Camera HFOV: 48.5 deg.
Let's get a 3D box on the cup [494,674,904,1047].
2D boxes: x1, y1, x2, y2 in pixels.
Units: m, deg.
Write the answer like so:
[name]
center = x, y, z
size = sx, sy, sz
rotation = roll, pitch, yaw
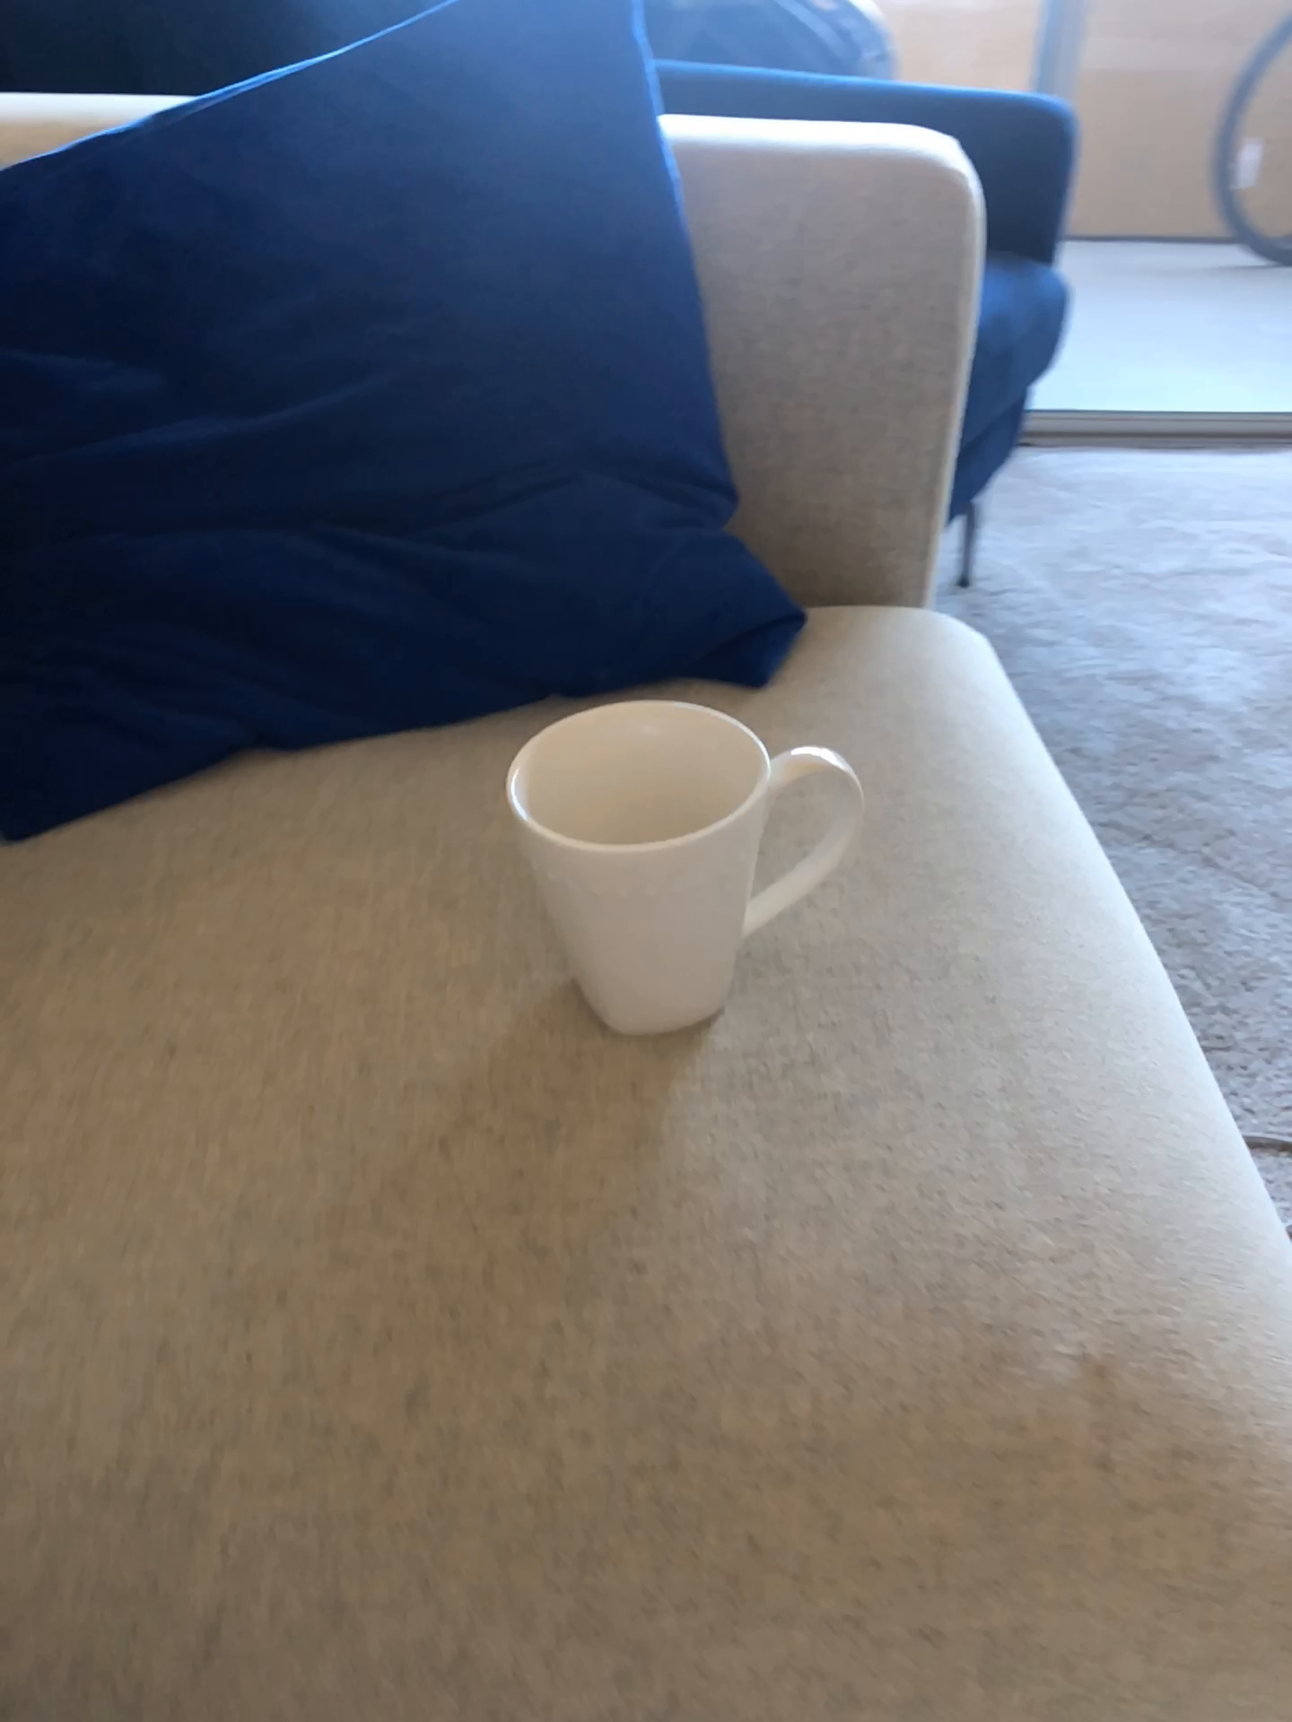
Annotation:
[cup]
center = 0.013, -0.003, 0.535
size = 0.130, 0.090, 0.100
rotation = -4, 35, -8
